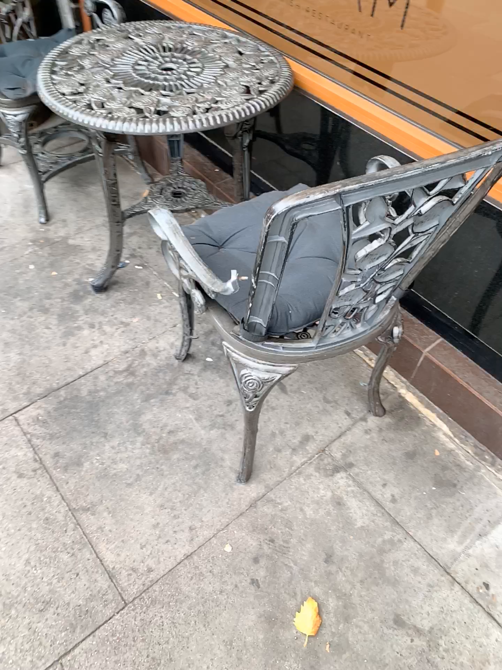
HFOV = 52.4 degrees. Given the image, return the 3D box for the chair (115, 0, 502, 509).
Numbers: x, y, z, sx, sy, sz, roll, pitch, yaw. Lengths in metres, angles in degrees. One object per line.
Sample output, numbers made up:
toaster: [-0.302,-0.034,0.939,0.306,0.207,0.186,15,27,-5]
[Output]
chair: [0.096,-0.132,1.091,0.491,0.852,0.553,-23,59,-22]
